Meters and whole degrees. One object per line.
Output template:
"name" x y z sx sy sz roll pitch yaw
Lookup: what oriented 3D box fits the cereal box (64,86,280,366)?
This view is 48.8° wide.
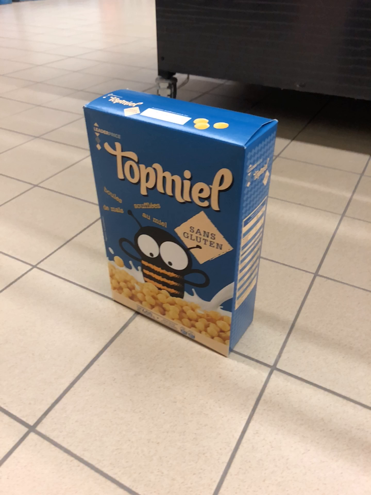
"cereal box" -0.018 -0.022 0.480 0.200 0.278 0.081 19 39 25
